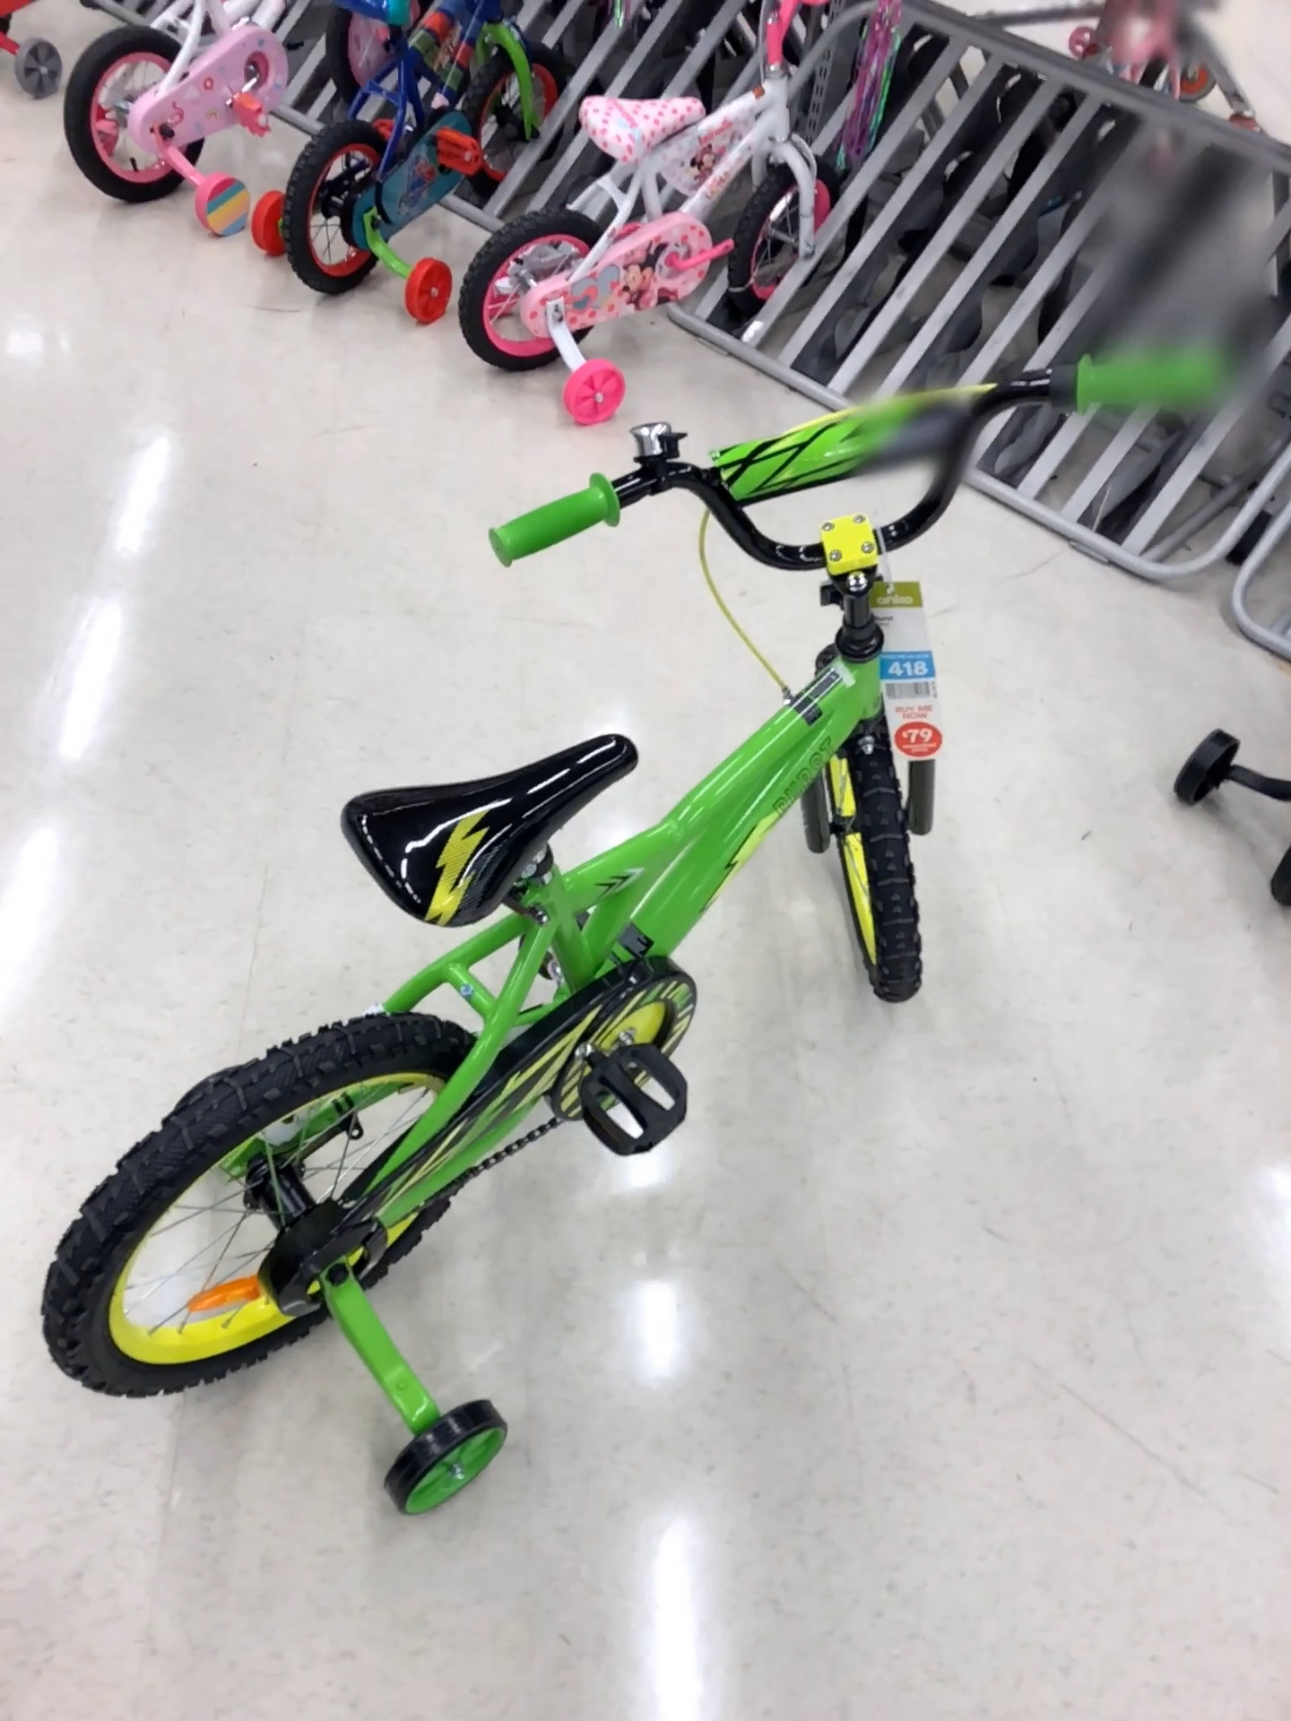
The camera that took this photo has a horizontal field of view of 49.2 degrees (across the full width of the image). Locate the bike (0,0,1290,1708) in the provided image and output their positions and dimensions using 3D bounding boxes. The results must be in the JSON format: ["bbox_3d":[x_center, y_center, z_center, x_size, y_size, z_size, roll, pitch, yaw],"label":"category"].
[{"bbox_3d":[-0.075,-0.112,1.152,0.553,0.806,1.047,35,57,21],"label":"bike"}]
